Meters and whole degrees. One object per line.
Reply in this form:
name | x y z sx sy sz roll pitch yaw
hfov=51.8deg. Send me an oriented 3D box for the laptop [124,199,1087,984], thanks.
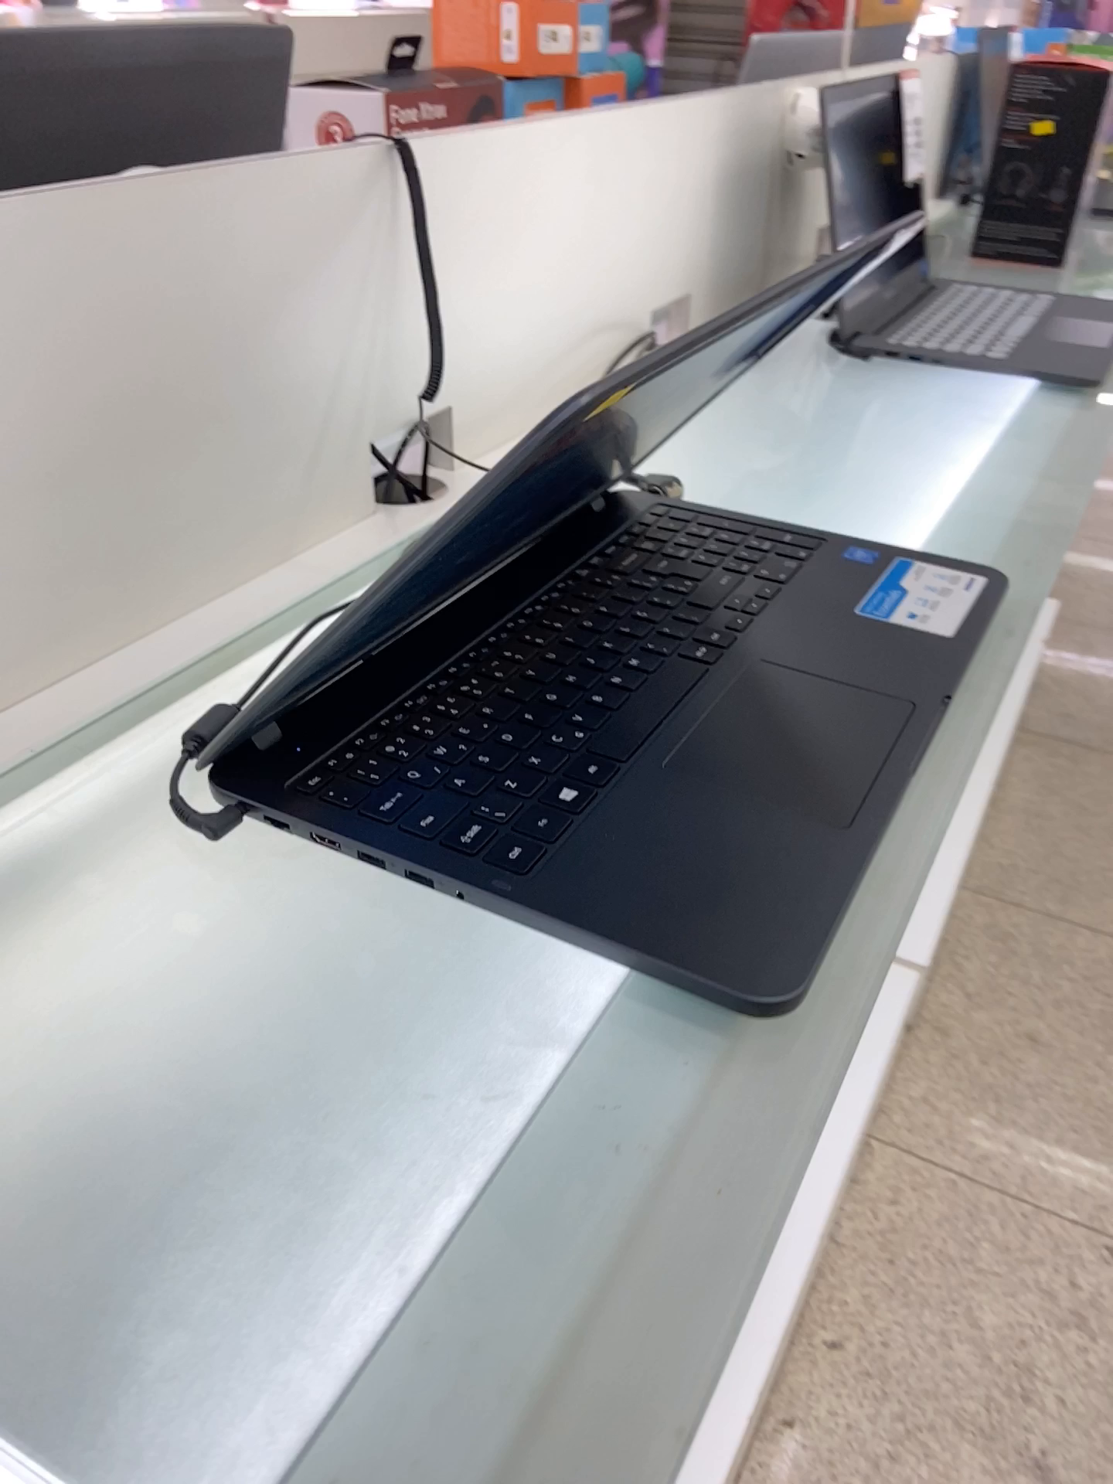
laptop | 0.057 -0.115 0.504 0.245 0.173 0.374 17 35 23
